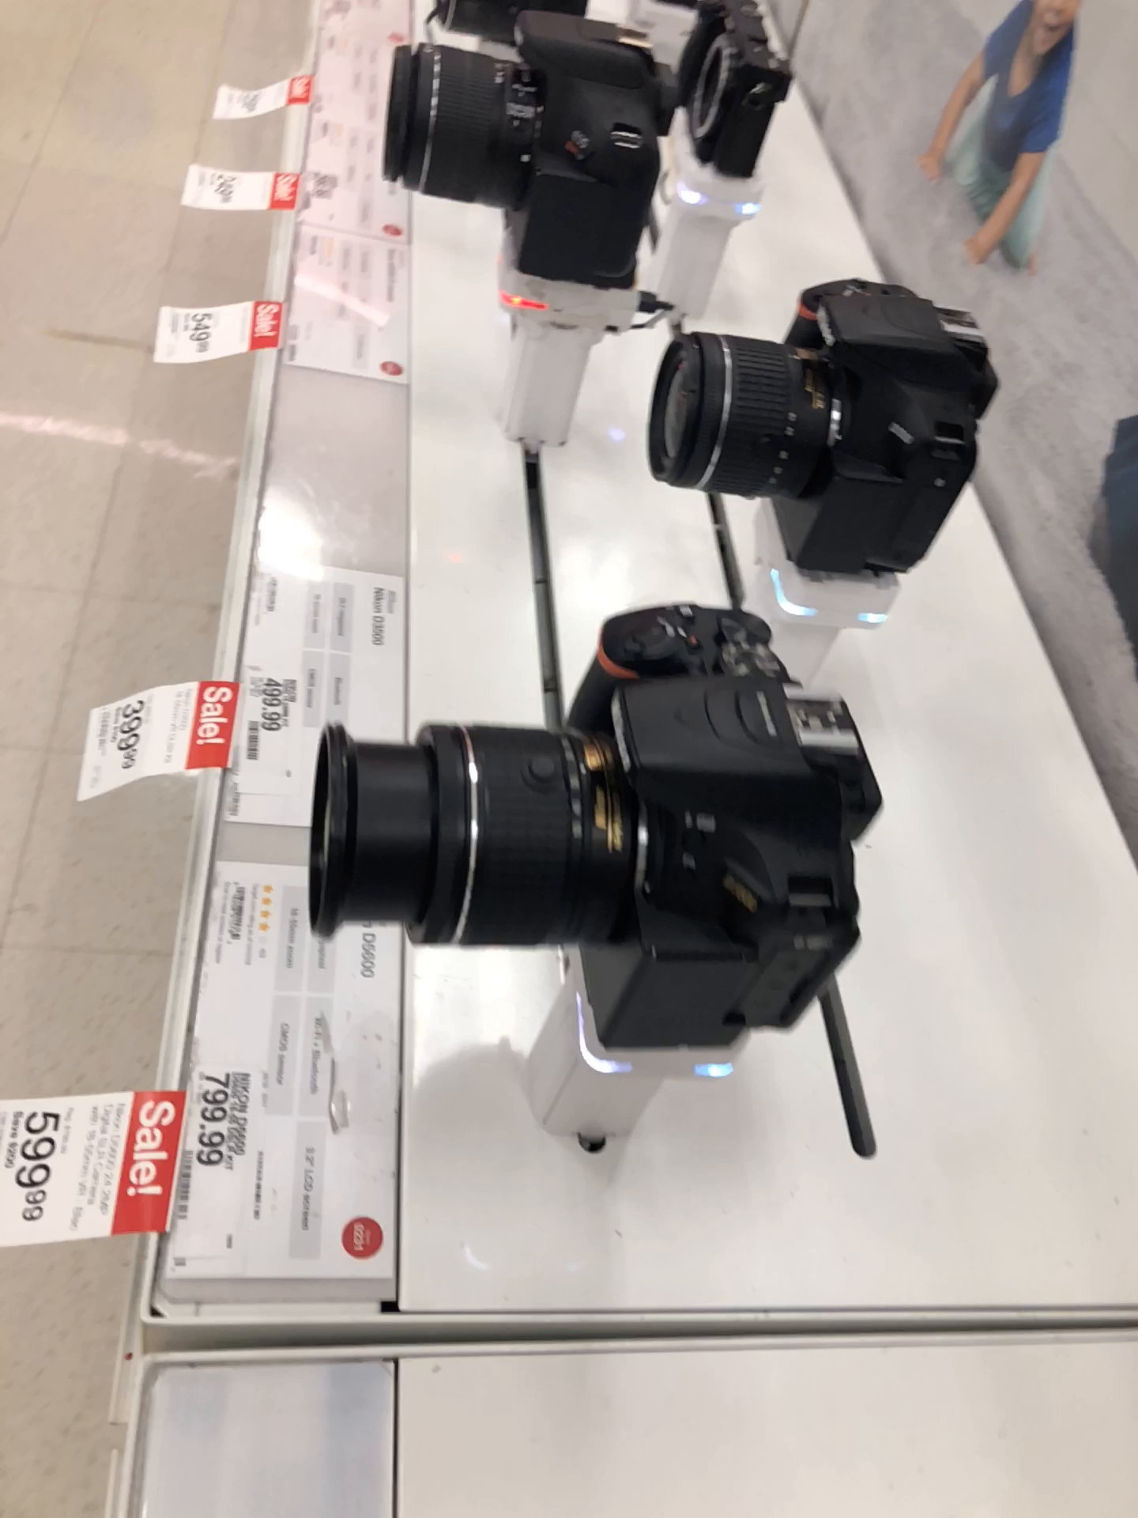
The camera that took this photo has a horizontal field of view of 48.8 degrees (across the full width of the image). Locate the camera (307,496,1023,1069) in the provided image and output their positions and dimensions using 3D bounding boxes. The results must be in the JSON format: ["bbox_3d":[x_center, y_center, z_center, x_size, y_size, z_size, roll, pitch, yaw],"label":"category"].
[{"bbox_3d":[0.015,0.009,0.368,0.170,0.090,0.131,4,50,-13],"label":"camera"}]
